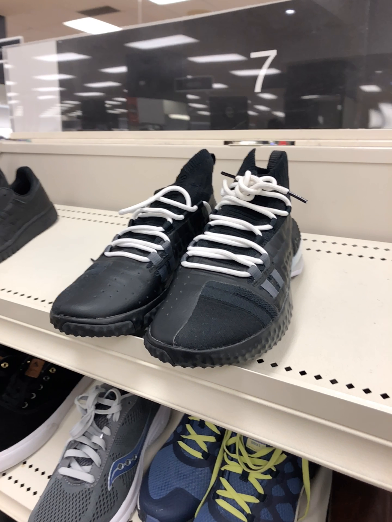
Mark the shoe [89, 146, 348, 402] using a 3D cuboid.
[{"bbox_3d":[0.060,-0.030,0.457,0.120,0.136,0.352,8,23,27],"label":"shoe"}]

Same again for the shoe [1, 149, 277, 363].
[{"bbox_3d":[-0.027,-0.043,0.518,0.120,0.136,0.352,9,24,31],"label":"shoe"}]
